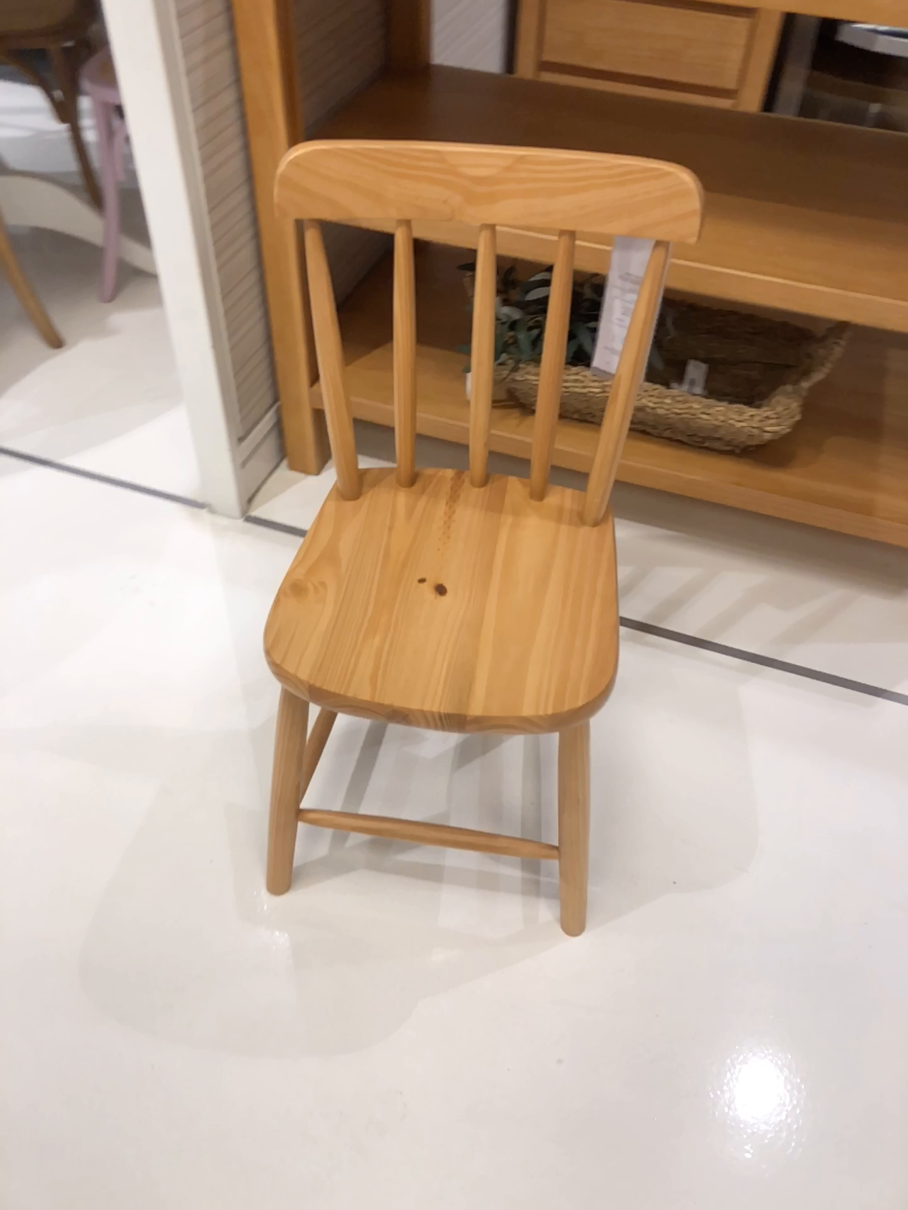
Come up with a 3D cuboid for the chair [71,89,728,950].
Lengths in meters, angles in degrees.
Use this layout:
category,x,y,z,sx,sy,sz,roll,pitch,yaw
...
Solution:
category,x,y,z,sx,sy,sz,roll,pitch,yaw
chair,-0.016,-0.049,1.054,0.420,0.755,0.453,7,46,5
